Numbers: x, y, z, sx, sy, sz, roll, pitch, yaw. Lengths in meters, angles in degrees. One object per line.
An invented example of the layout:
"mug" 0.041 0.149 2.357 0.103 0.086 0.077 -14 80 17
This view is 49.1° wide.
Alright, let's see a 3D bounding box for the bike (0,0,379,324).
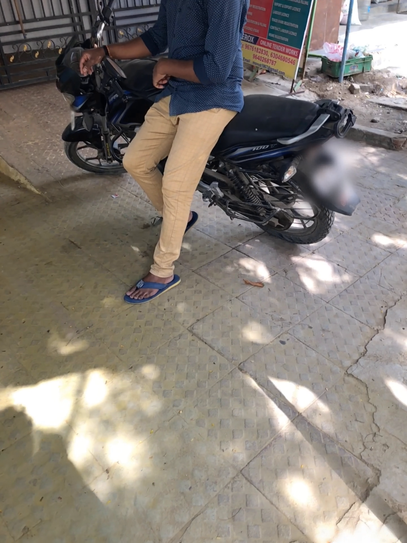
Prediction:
"bike" -0.228 -0.716 2.218 1.743 1.174 0.788 19 41 29
